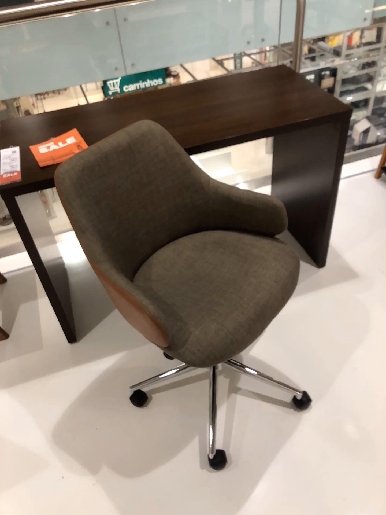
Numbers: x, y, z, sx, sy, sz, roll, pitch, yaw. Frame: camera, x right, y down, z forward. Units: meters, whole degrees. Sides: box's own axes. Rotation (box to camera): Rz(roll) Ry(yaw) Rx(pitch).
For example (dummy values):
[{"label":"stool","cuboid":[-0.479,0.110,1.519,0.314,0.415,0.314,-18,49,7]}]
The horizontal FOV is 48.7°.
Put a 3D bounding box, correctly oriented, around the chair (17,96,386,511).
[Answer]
[{"label":"chair","cuboid":[0.076,0.114,1.306,0.703,0.883,0.613,25,50,30]}]
